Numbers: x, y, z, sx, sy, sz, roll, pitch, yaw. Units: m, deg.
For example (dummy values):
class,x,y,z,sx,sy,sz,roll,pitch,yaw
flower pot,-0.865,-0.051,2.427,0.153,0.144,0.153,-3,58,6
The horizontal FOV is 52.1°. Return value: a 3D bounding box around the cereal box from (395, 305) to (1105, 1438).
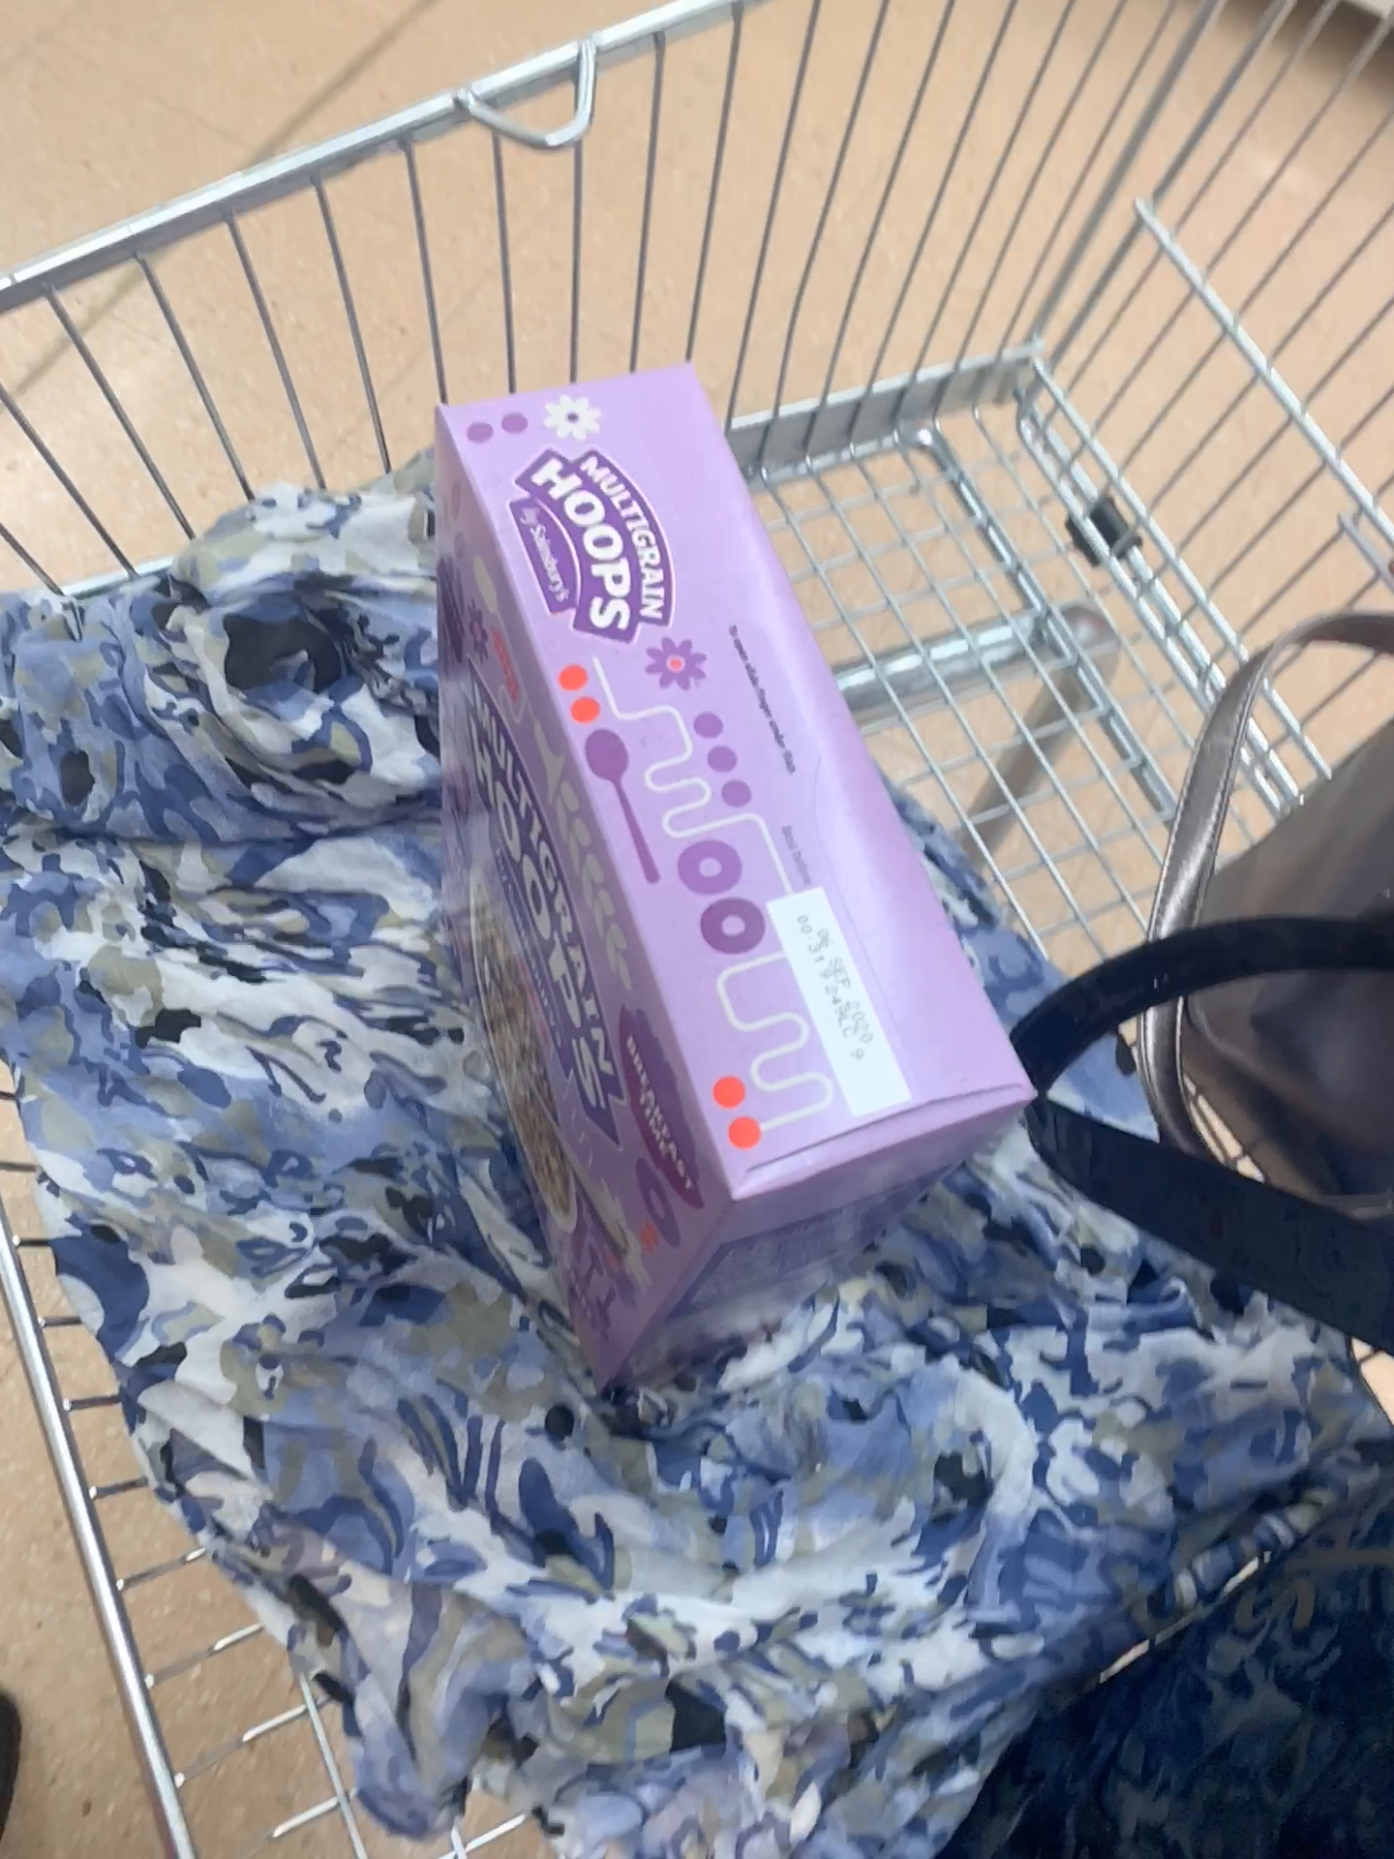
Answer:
class,x,y,z,sx,sy,sz,roll,pitch,yaw
cereal box,-0.018,0.013,0.401,0.070,0.268,0.211,-15,69,-16
